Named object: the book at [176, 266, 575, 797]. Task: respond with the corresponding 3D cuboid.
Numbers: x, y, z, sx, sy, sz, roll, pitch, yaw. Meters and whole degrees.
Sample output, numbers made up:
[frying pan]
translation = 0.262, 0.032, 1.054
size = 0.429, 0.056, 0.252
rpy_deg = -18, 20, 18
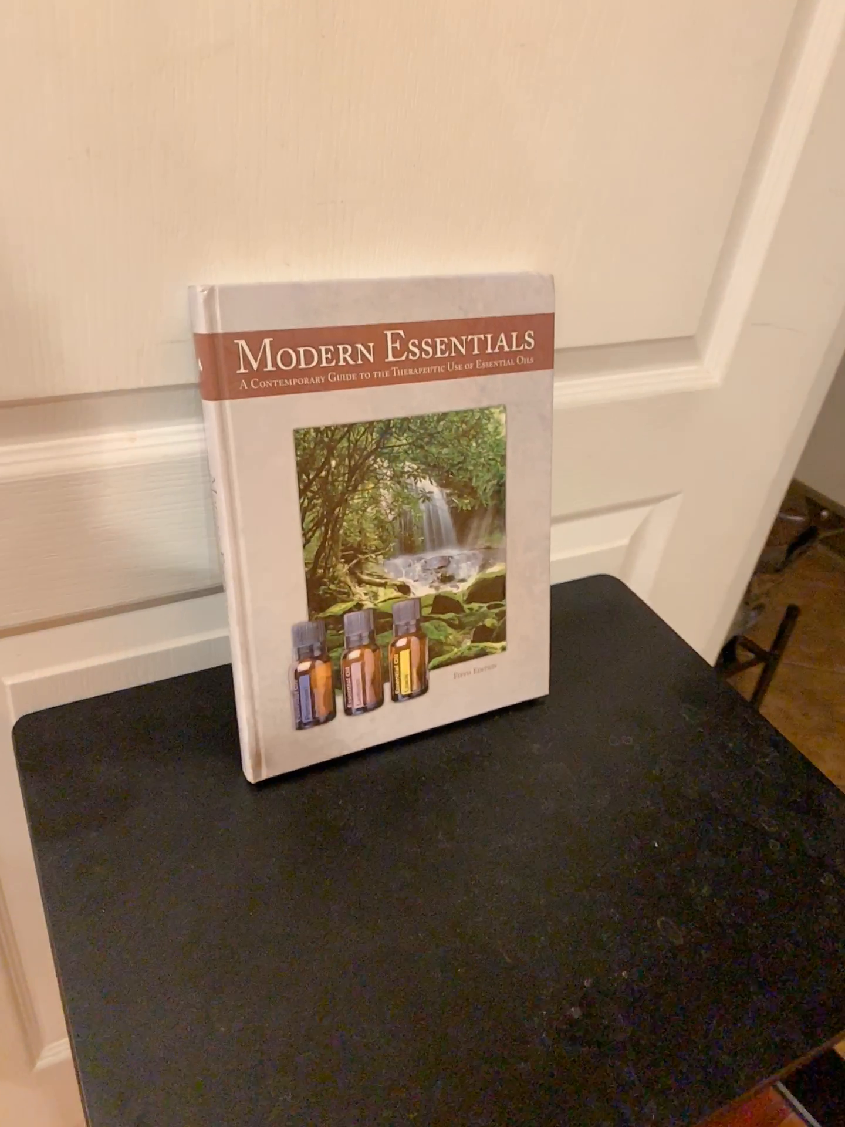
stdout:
[book]
translation = -0.013, -0.024, 0.528
size = 0.230, 0.289, 0.030
rpy_deg = -11, 21, -26
